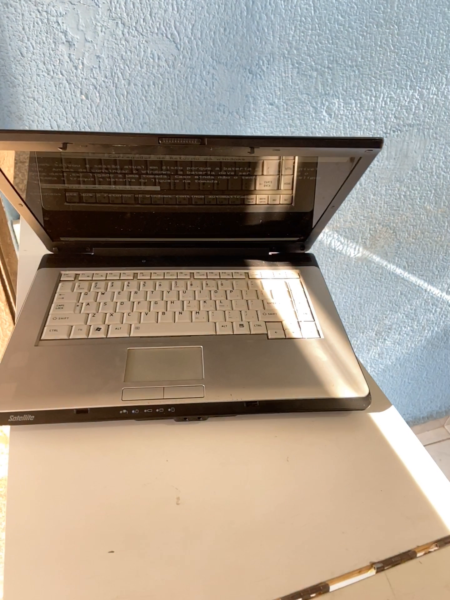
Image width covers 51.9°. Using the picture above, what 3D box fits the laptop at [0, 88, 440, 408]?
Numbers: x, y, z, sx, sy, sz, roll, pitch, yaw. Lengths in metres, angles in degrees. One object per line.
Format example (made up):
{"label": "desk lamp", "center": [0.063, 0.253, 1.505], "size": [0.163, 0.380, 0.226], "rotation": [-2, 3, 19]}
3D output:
{"label": "laptop", "center": [-0.042, -0.062, 0.460], "size": [0.351, 0.202, 0.247], "rotation": [0, 39, -5]}
